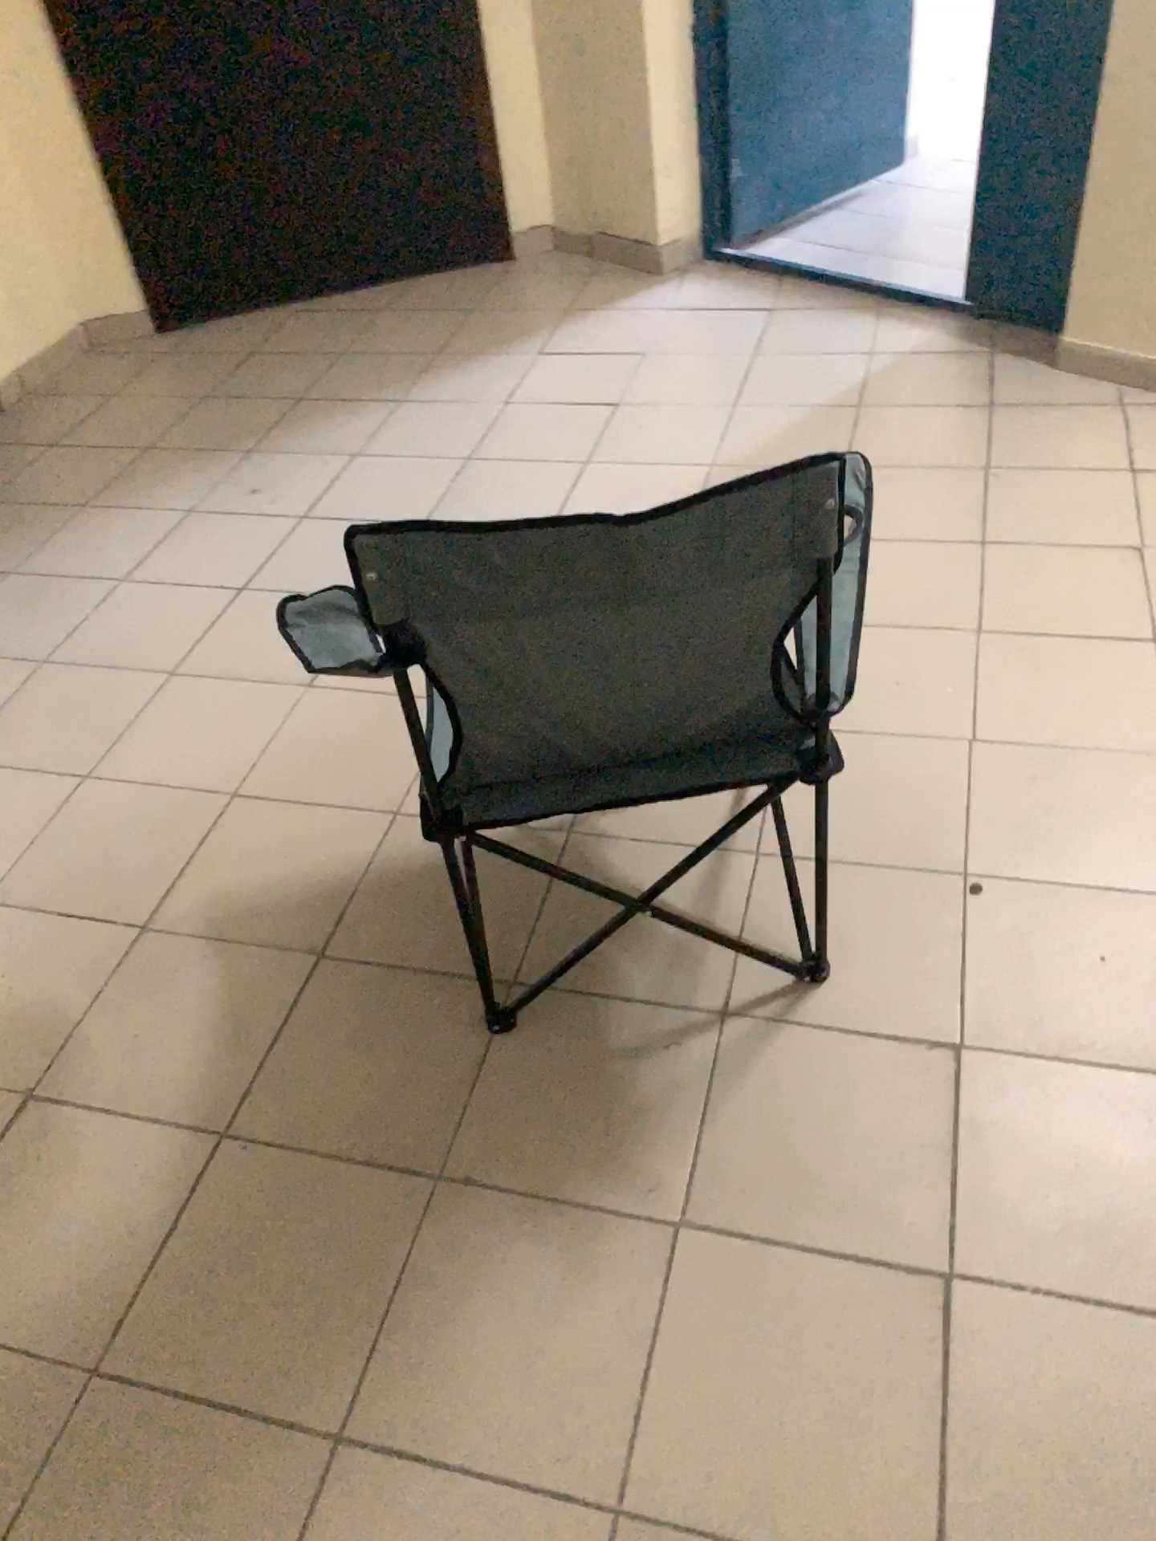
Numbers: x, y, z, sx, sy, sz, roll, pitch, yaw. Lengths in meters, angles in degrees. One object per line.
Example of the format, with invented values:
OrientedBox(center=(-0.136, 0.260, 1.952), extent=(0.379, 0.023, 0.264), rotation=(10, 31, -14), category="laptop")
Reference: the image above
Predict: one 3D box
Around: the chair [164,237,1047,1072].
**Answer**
OrientedBox(center=(0.031, -0.141, 1.513), extent=(0.800, 0.756, 0.563), rotation=(-10, 41, -2), category="chair")
